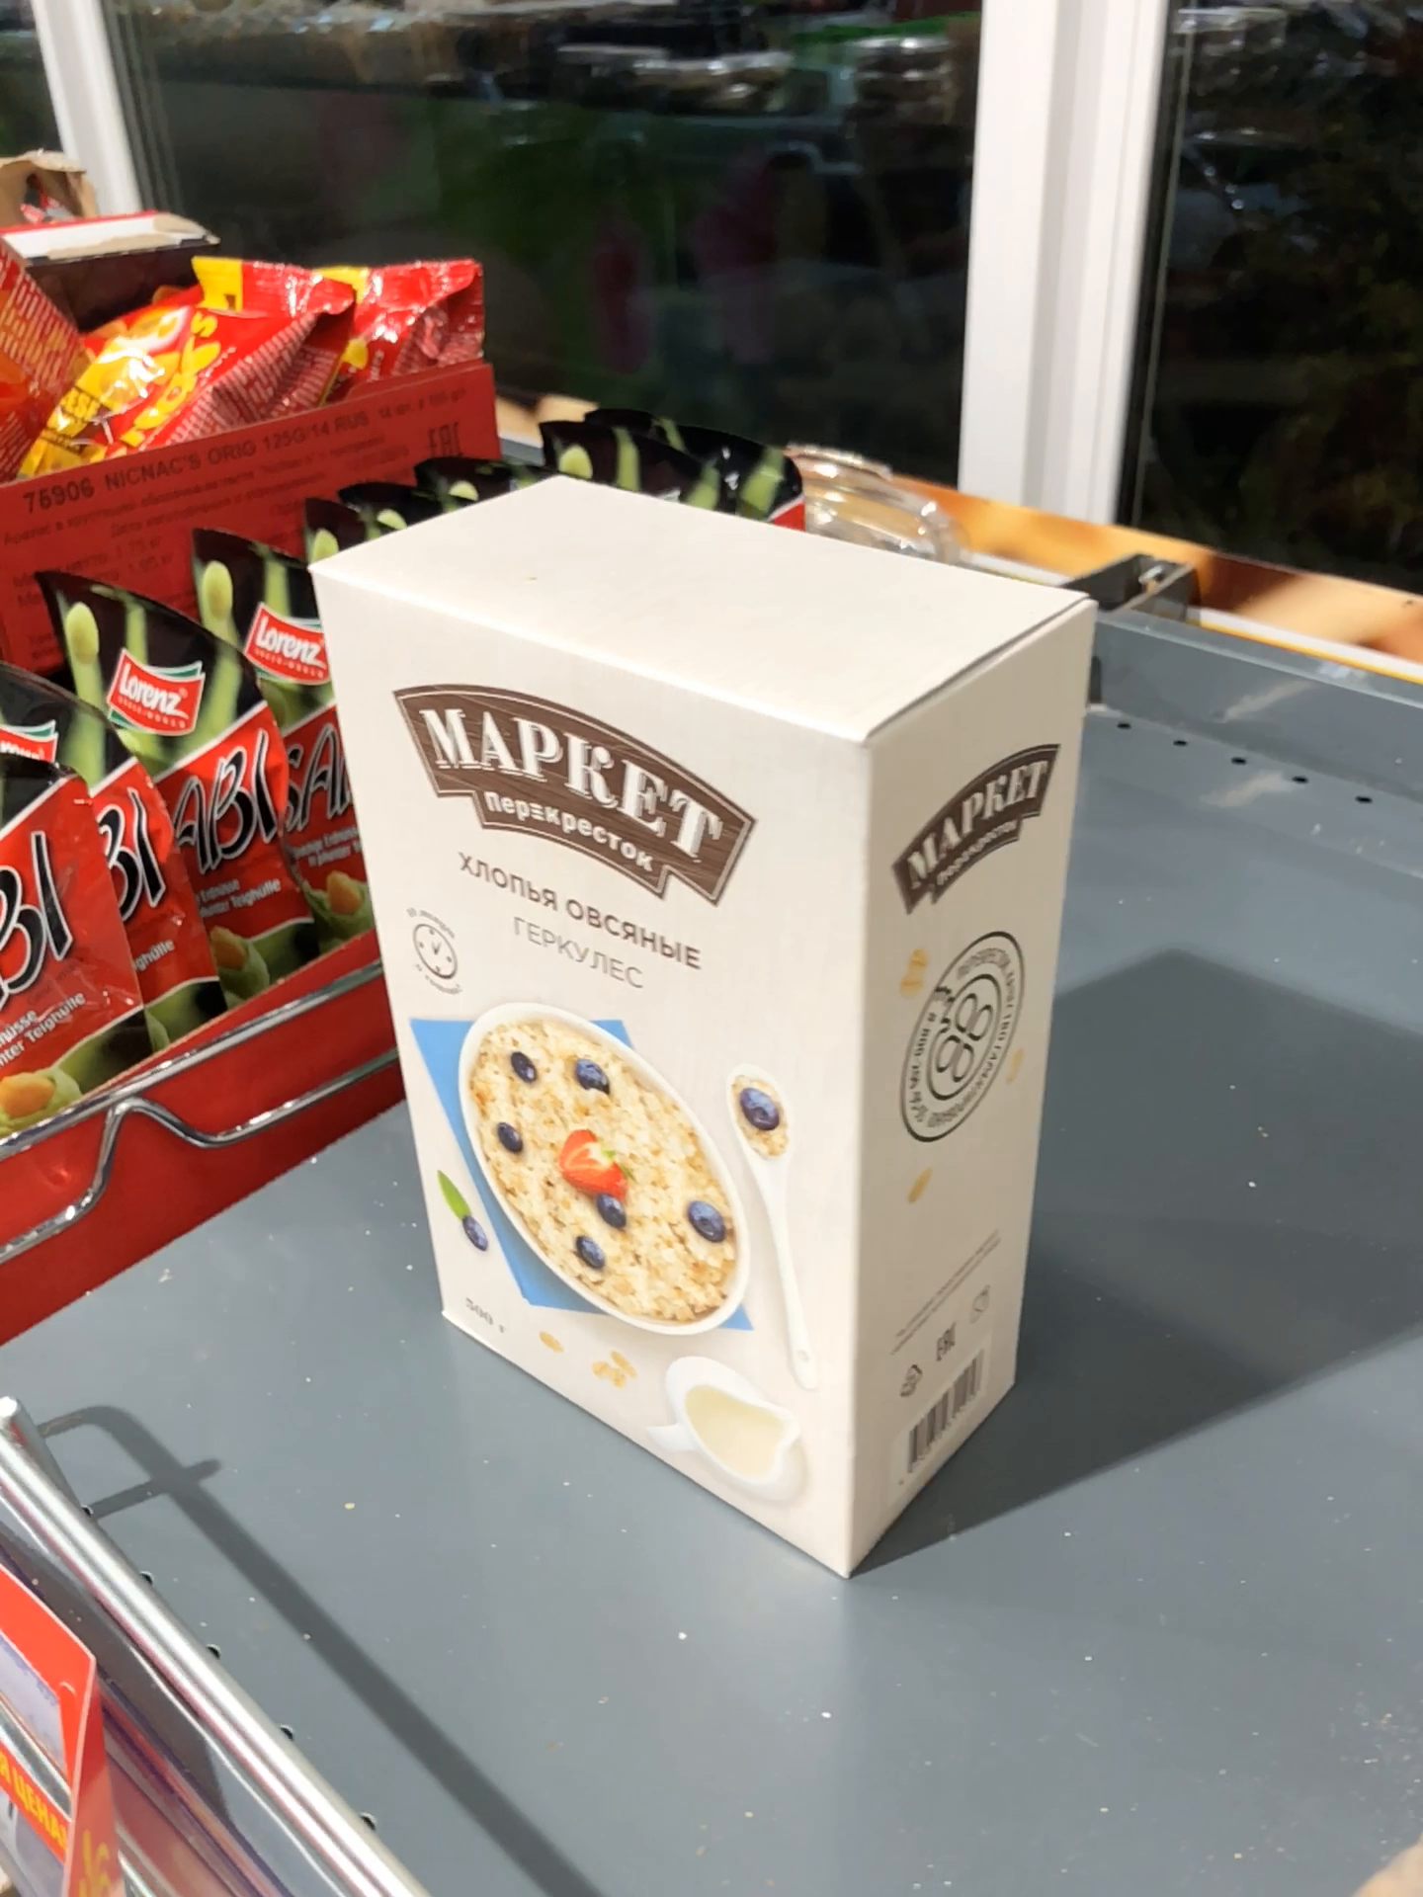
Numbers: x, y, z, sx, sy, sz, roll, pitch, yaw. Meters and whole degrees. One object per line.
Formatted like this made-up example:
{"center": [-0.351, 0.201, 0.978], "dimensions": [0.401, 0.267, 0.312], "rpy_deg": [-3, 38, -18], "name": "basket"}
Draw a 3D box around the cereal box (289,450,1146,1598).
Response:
{"center": [0.001, 0.013, 0.319], "dimensions": [0.130, 0.189, 0.070], "rpy_deg": [22, 40, 32], "name": "cereal box"}
